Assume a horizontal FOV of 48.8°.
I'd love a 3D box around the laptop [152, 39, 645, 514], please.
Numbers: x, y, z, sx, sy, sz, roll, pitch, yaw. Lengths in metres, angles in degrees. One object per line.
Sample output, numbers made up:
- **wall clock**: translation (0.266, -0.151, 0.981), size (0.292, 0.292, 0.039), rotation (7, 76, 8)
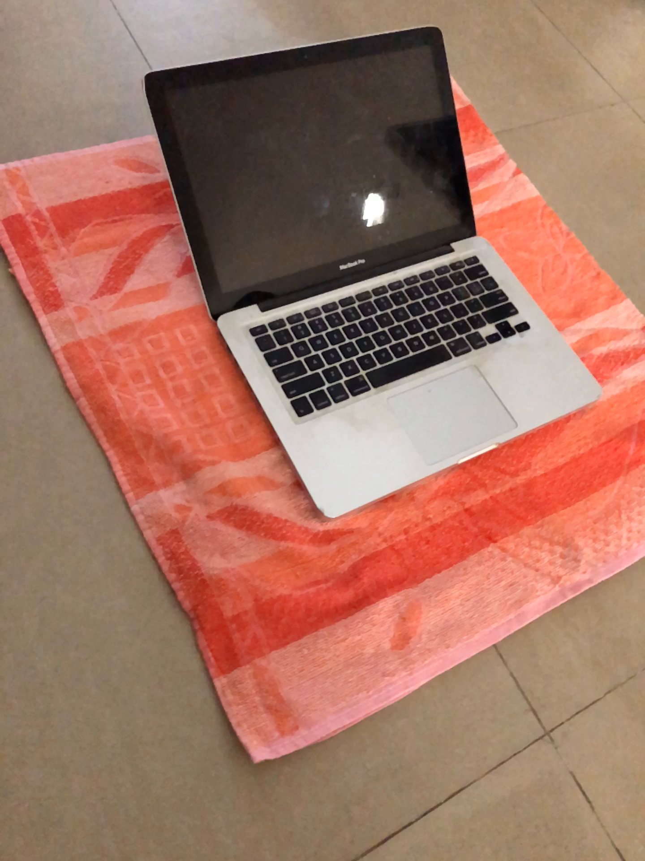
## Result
- **laptop**: translation (0.063, -0.165, 0.653), size (0.310, 0.133, 0.373), rotation (-22, 66, -22)
